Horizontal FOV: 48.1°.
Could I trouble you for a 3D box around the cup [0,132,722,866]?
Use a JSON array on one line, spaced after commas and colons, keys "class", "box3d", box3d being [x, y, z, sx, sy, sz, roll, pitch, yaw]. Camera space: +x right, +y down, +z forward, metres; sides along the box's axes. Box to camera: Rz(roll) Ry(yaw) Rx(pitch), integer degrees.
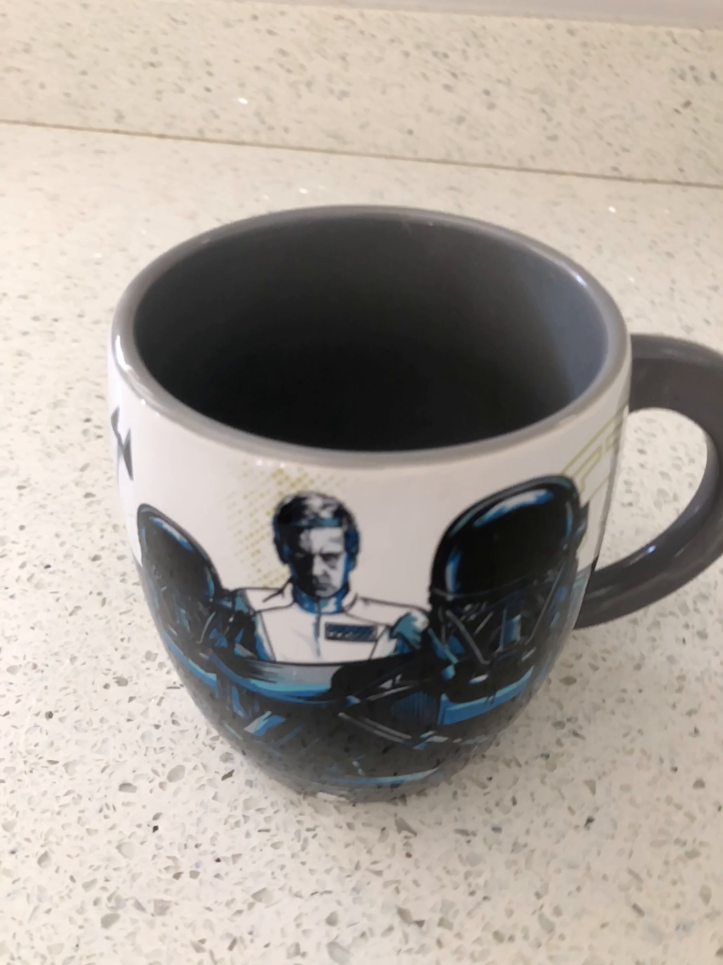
[{"class": "cup", "box3d": [0.017, -0.003, 0.170, 0.140, 0.100, 0.100, -5, 40, -7]}]
